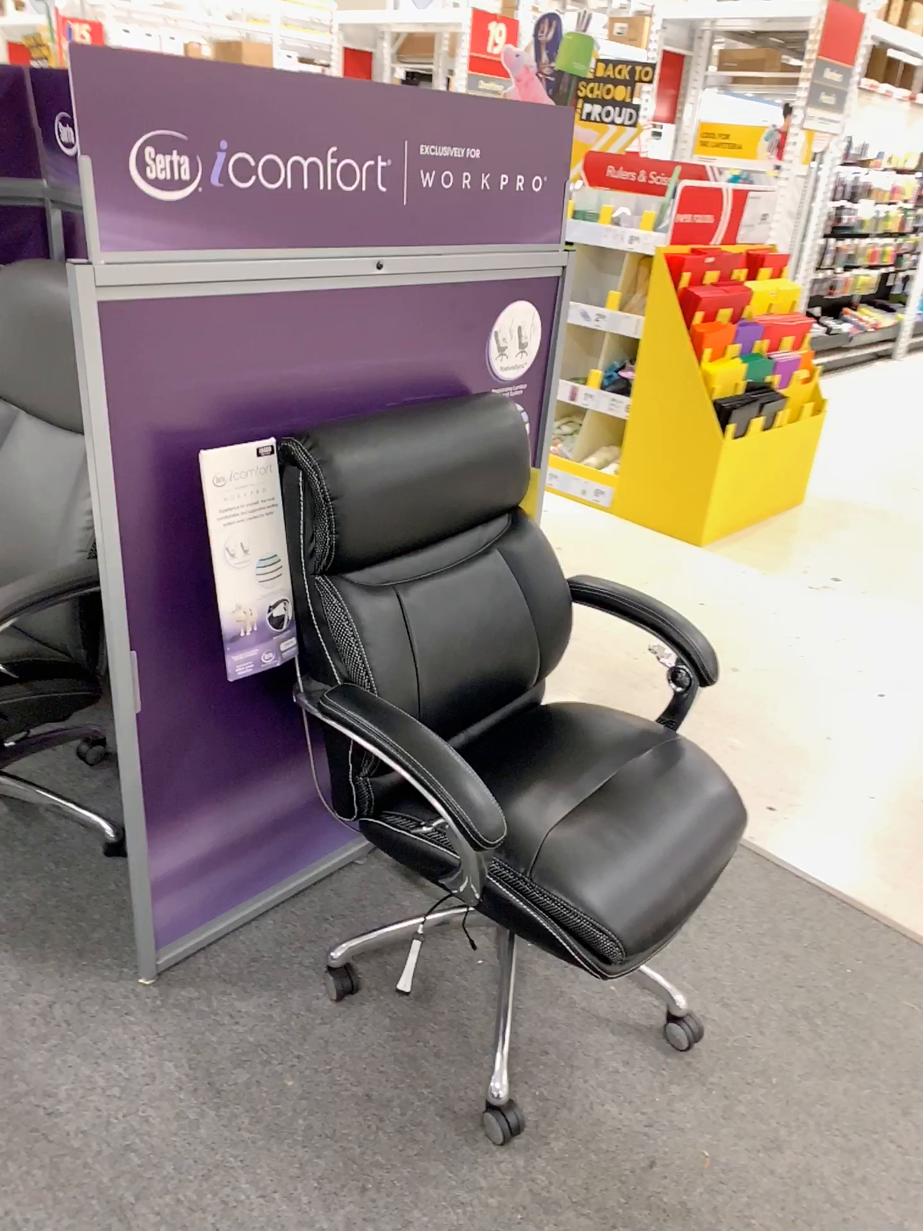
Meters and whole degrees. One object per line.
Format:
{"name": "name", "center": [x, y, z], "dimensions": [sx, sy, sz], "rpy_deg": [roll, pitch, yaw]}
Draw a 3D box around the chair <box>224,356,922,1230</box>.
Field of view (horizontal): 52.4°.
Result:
{"name": "chair", "center": [0.162, 0.169, 1.526], "dimensions": [0.722, 0.955, 0.772], "rpy_deg": [26, 33, 36]}
